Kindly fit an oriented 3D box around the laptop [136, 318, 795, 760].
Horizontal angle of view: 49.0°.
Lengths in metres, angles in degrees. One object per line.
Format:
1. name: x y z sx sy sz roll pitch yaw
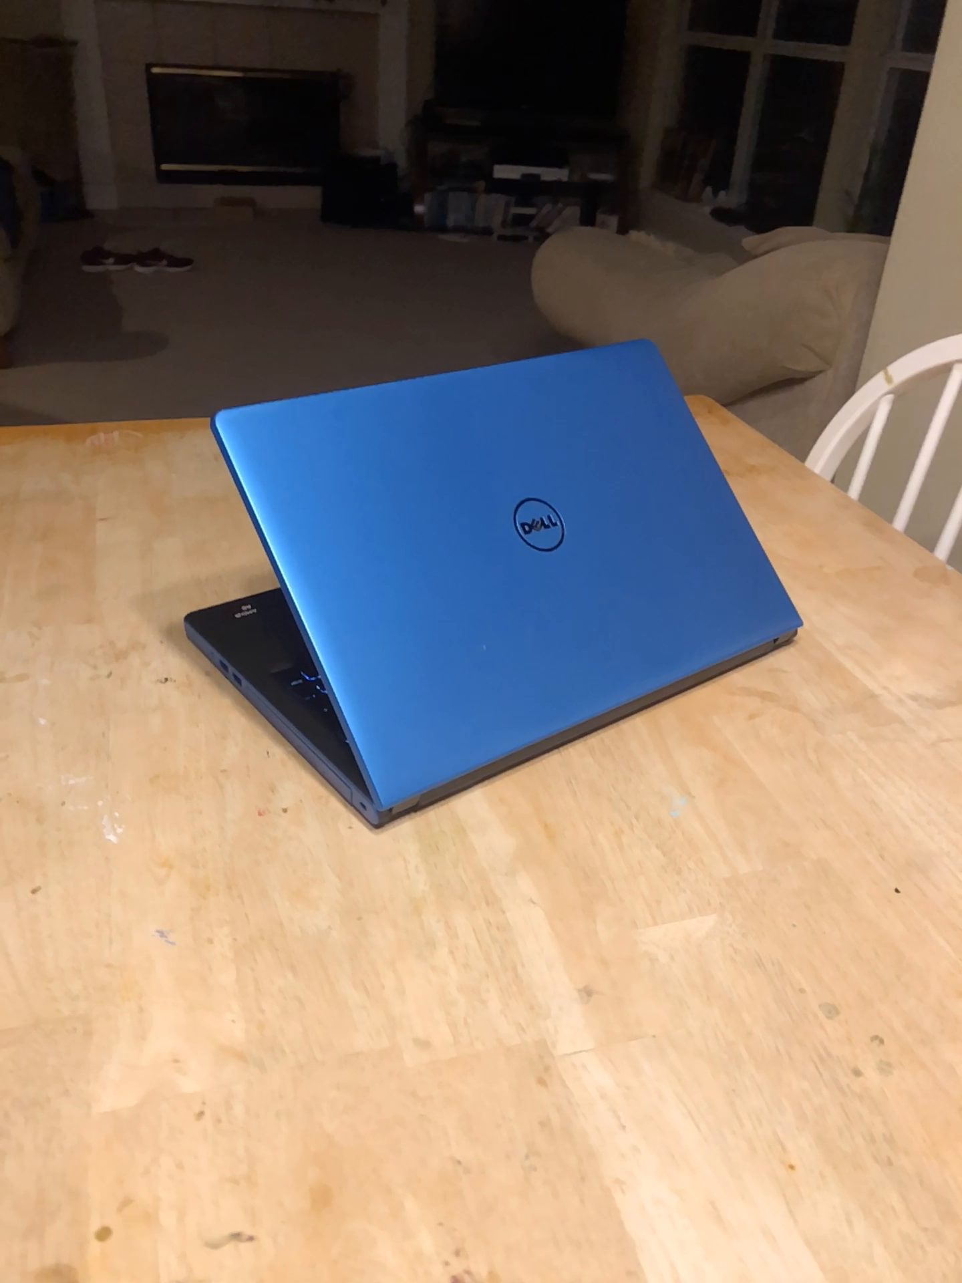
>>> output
1. laptop: -0.009 -0.102 0.745 0.362 0.159 0.249 -20 37 -34
